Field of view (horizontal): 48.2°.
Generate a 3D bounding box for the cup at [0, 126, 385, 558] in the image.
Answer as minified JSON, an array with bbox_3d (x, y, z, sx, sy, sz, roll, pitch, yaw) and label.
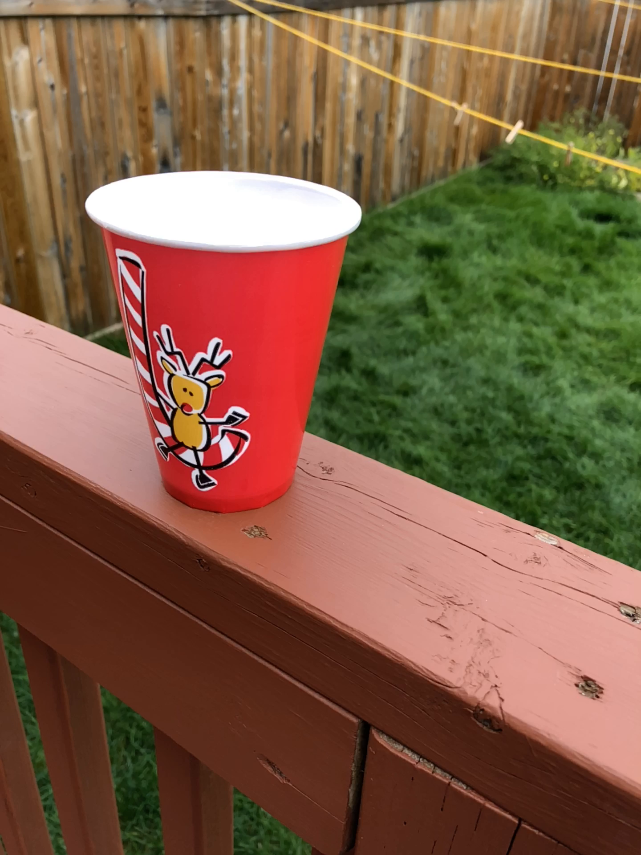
[{"bbox_3d":[-0.033,-0.032,0.227,0.080,0.100,0.080,2,32,-1],"label":"cup"}]
